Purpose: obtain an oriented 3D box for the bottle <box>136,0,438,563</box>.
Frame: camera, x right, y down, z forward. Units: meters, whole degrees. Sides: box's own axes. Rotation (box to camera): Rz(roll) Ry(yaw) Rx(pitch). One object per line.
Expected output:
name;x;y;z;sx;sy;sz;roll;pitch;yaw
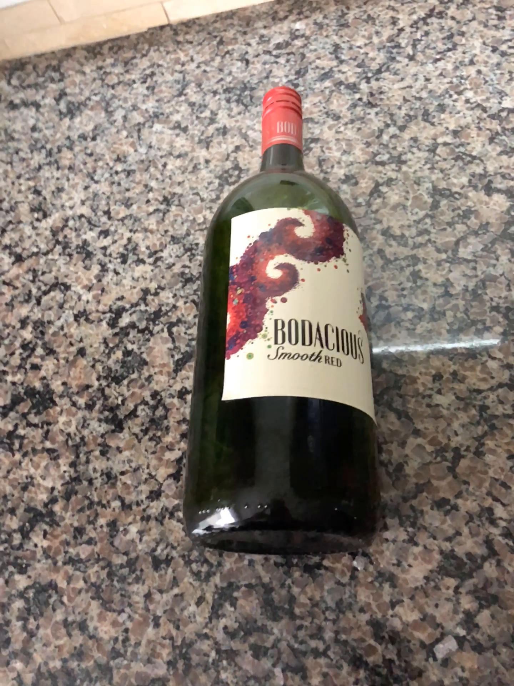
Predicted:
bottle;0.017;-0.052;0.361;0.100;0.110;0.340;-30;49;45
